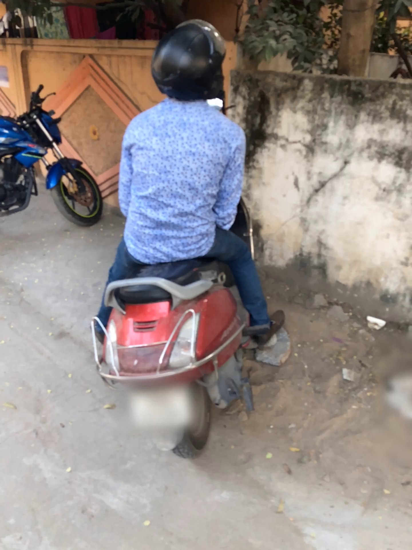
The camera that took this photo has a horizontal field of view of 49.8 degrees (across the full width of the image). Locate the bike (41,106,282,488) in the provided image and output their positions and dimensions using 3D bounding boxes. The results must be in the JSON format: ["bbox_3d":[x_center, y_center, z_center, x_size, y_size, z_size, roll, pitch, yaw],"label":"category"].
[{"bbox_3d":[-0.124,-0.077,2.220,0.722,1.165,1.509,4,28,2],"label":"bike"}]
